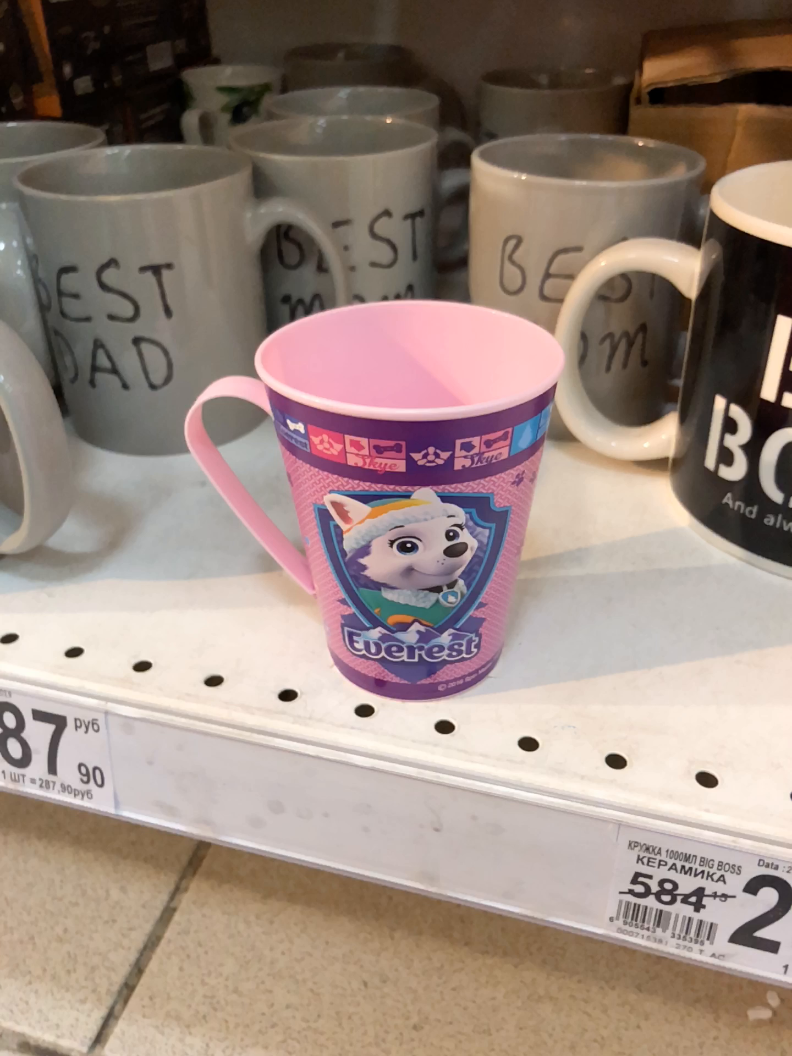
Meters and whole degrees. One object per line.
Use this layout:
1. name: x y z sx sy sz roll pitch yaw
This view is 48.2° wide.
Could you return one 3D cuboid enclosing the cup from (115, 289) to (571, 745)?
1. cup: -0.009 -0.006 0.268 0.108 0.104 0.078 4 34 7
